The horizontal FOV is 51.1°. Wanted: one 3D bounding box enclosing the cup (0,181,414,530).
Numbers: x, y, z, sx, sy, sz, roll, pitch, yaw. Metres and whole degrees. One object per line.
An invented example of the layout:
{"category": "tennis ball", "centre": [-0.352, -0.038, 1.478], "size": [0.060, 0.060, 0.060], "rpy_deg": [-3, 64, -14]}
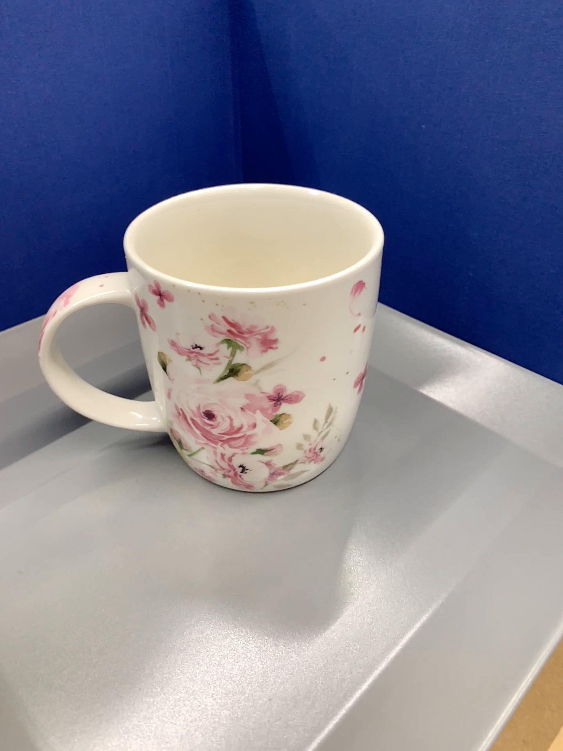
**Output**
{"category": "cup", "centre": [-0.024, -0.011, 0.205], "size": [0.110, 0.087, 0.085], "rpy_deg": [-1, 34, -2]}
